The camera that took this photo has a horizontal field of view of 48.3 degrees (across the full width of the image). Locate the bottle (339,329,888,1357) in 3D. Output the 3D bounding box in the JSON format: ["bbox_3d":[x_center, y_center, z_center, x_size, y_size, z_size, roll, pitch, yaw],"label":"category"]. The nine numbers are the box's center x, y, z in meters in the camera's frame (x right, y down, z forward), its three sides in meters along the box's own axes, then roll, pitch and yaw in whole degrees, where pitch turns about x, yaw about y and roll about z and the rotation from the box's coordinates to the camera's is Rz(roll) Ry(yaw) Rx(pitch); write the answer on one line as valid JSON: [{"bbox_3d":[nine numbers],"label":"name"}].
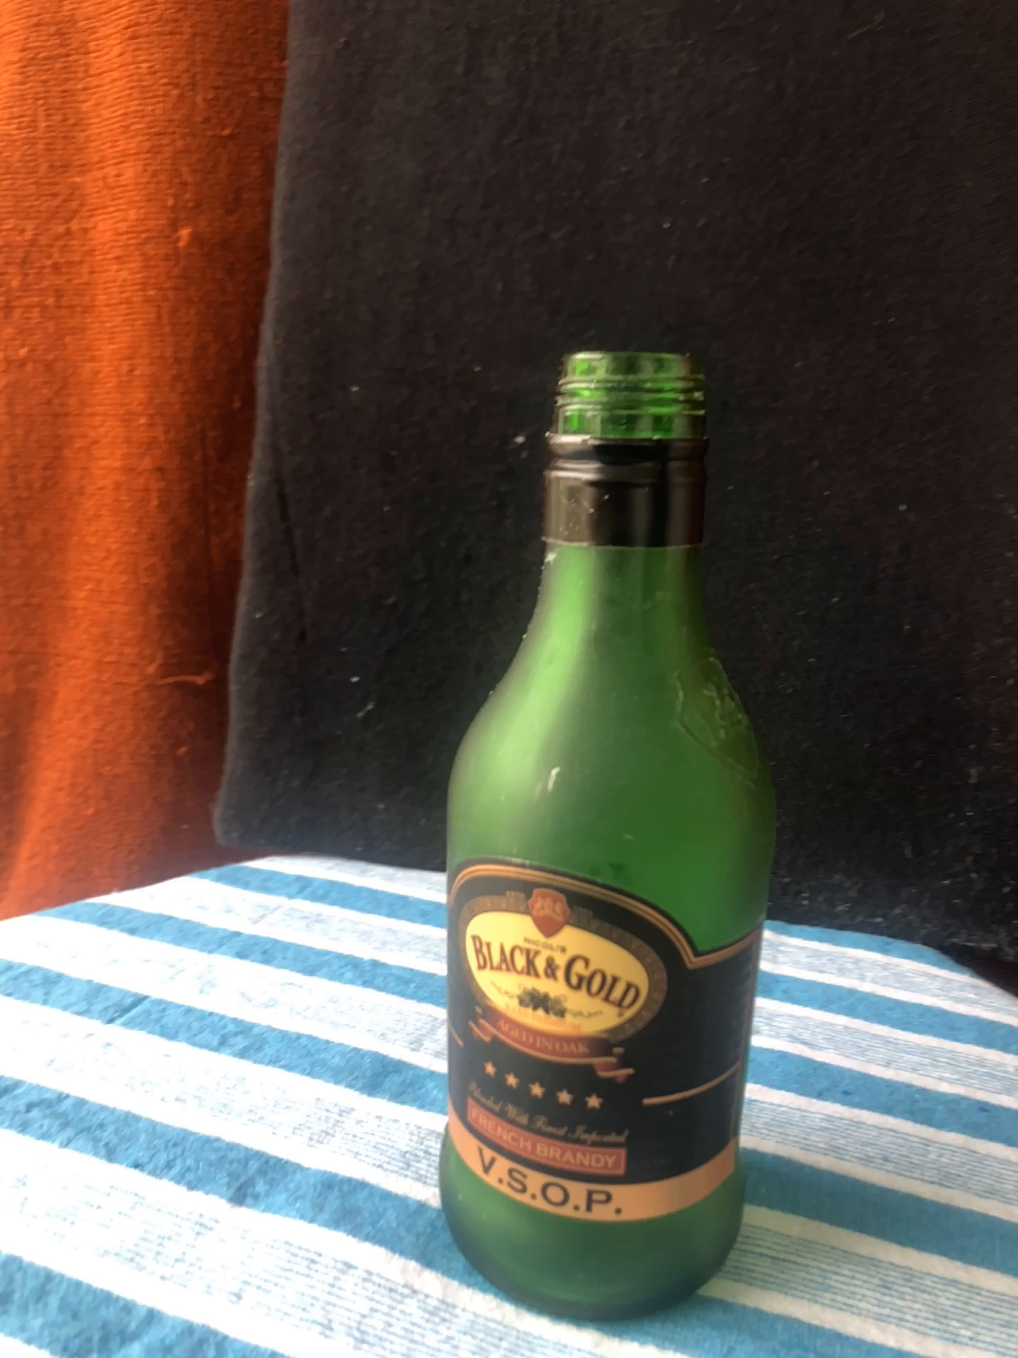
[{"bbox_3d":[0.017,0.021,0.181,0.060,0.140,0.060,4,14,-1],"label":"bottle"}]
